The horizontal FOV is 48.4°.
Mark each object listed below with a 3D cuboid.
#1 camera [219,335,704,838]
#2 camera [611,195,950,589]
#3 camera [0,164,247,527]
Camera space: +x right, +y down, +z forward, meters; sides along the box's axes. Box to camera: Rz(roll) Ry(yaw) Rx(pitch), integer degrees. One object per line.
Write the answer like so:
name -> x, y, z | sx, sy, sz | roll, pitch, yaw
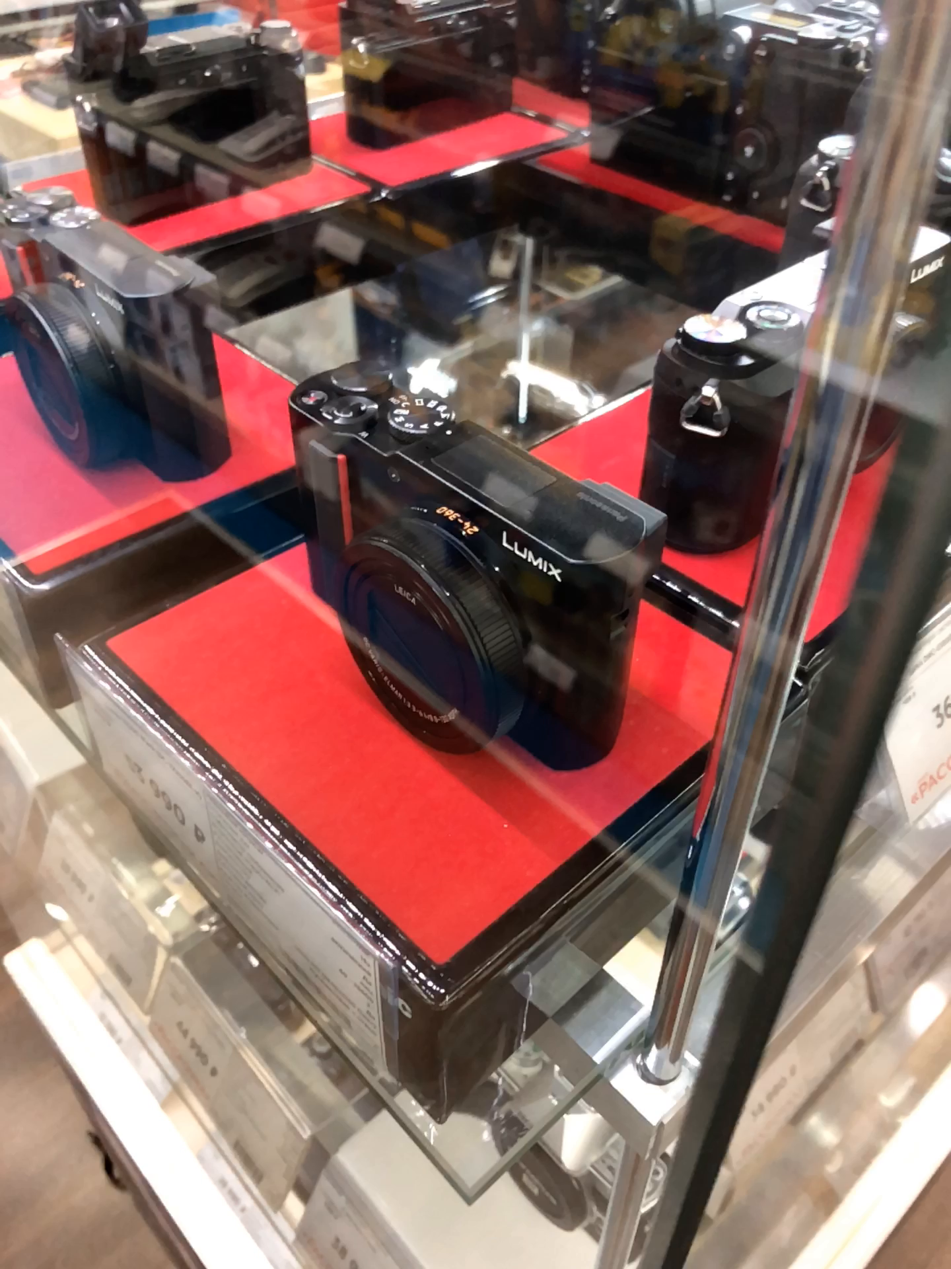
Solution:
camera -> -0.007, -0.017, 0.268 | 0.052, 0.070, 0.110 | -32, 51, -31
camera -> 0.099, -0.078, 0.328 | 0.102, 0.076, 0.054 | -32, 51, -31
camera -> -0.139, -0.104, 0.370 | 0.055, 0.076, 0.114 | -29, 49, -29
